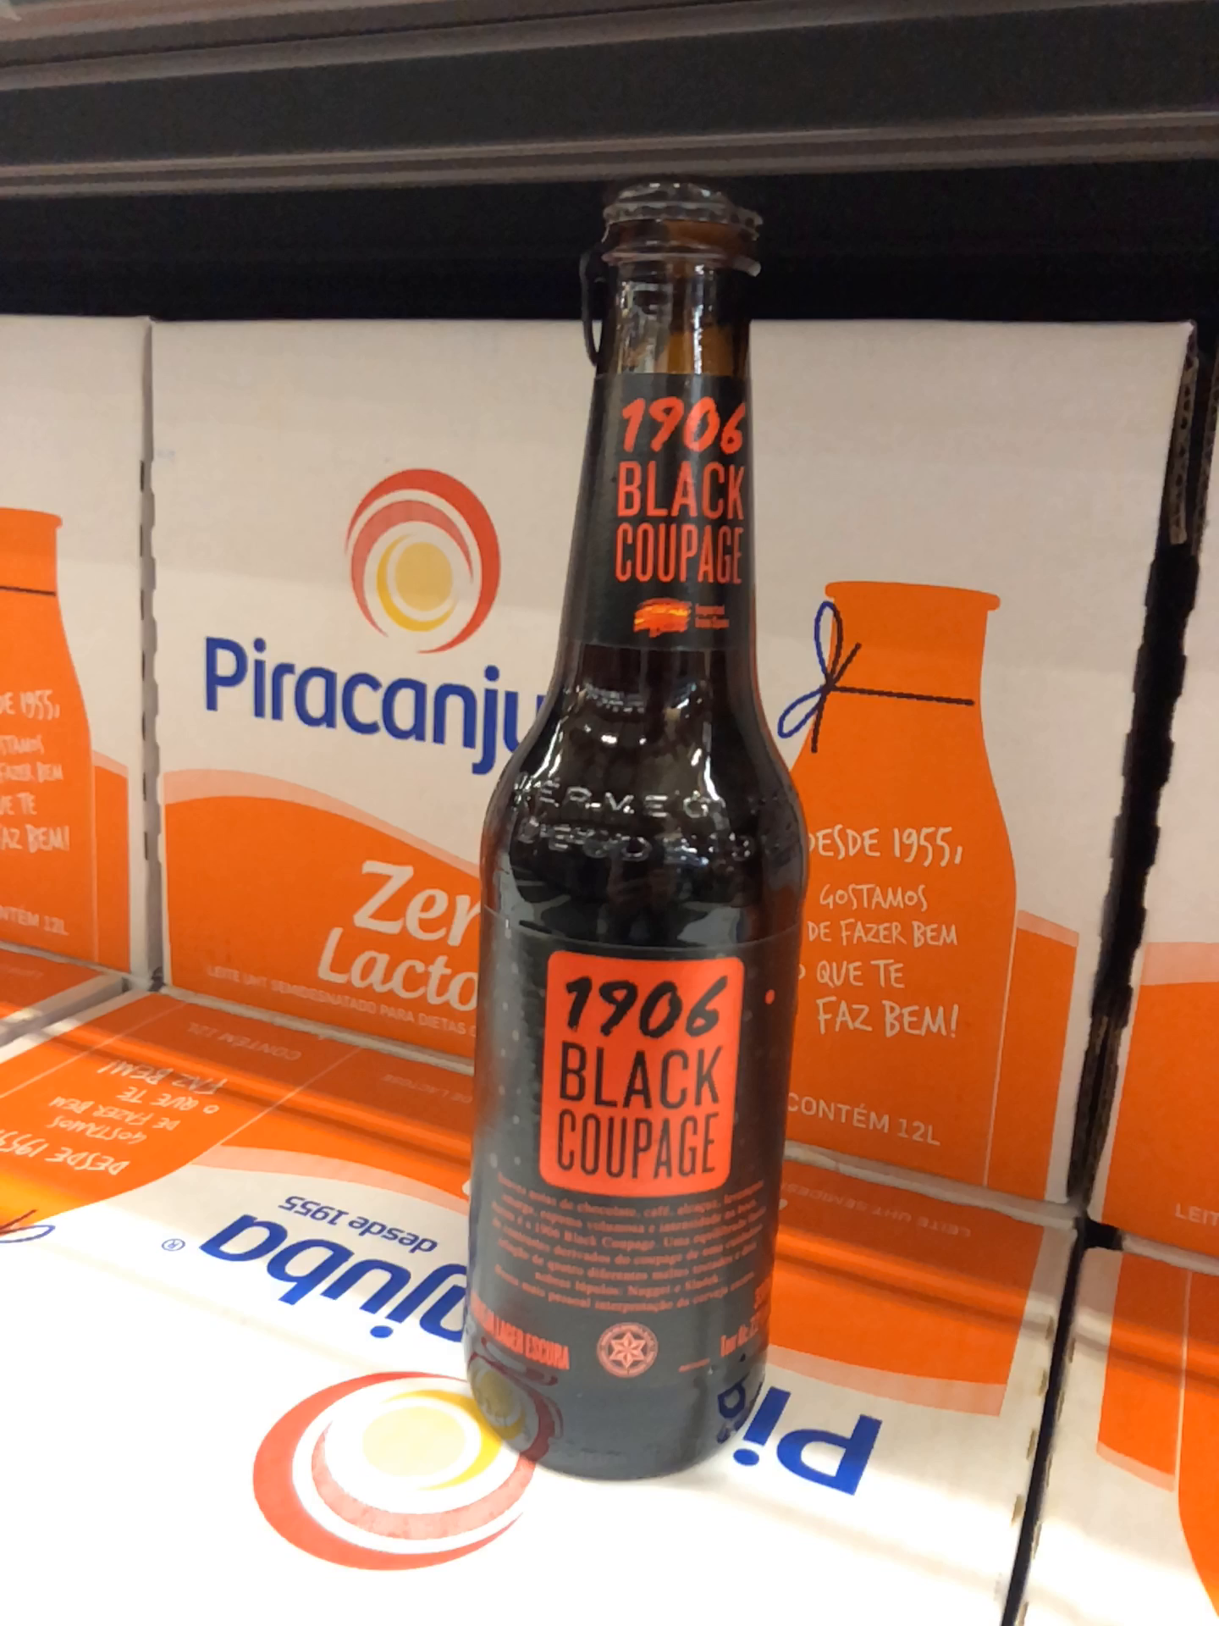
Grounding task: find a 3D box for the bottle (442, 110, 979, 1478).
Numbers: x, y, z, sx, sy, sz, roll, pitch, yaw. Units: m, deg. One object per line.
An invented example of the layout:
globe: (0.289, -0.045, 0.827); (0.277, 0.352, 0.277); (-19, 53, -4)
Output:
bottle: (0.009, 0.003, 0.245); (0.070, 0.219, 0.060); (2, 12, -6)
